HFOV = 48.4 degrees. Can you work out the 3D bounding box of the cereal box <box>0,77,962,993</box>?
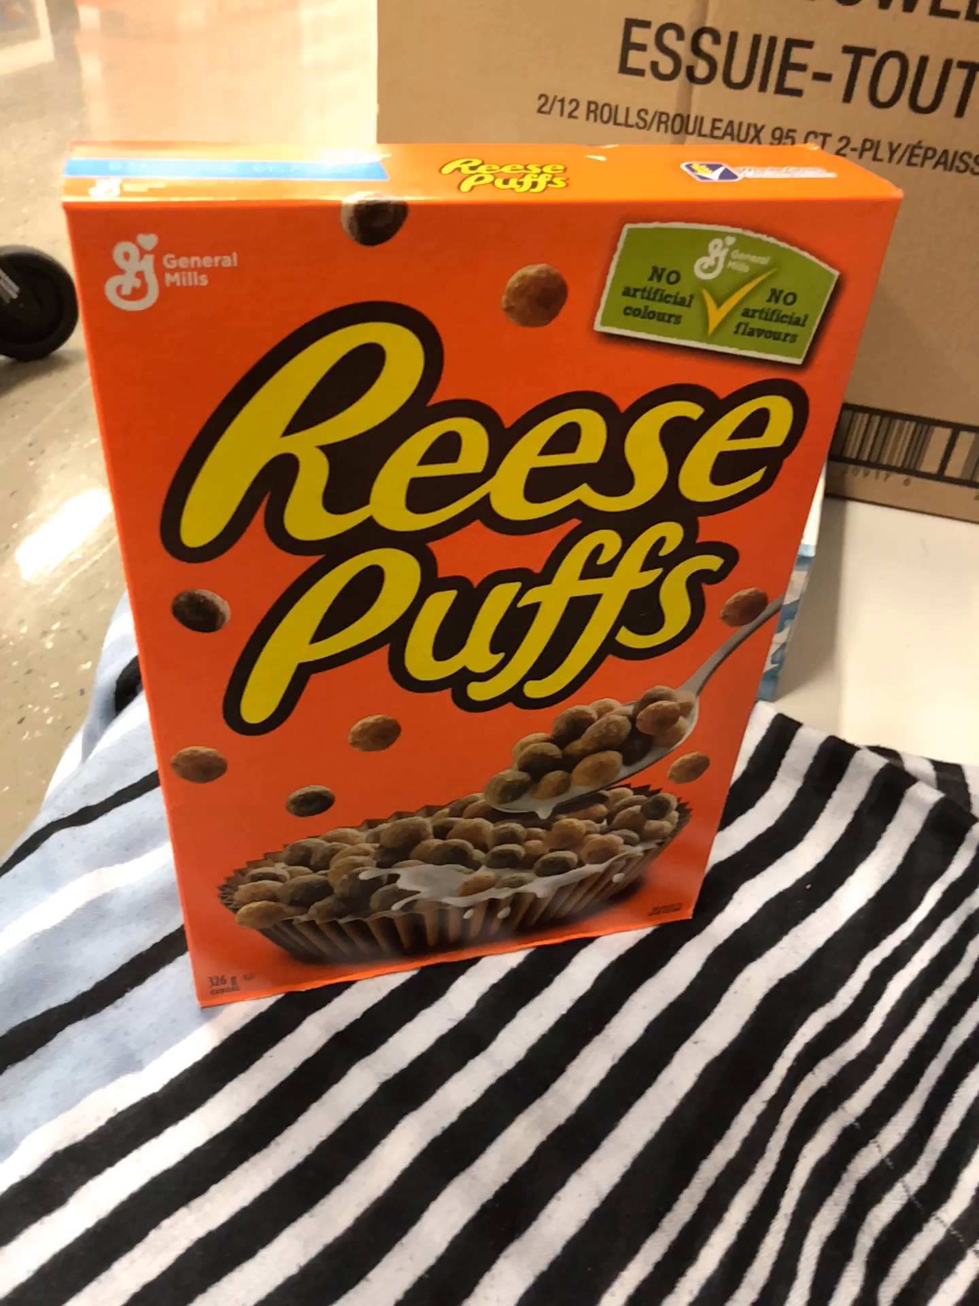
[{"bbox_3d":[-0.005,-0.016,0.323,0.210,0.269,0.040,-7,39,-13],"label":"cereal box"}]
